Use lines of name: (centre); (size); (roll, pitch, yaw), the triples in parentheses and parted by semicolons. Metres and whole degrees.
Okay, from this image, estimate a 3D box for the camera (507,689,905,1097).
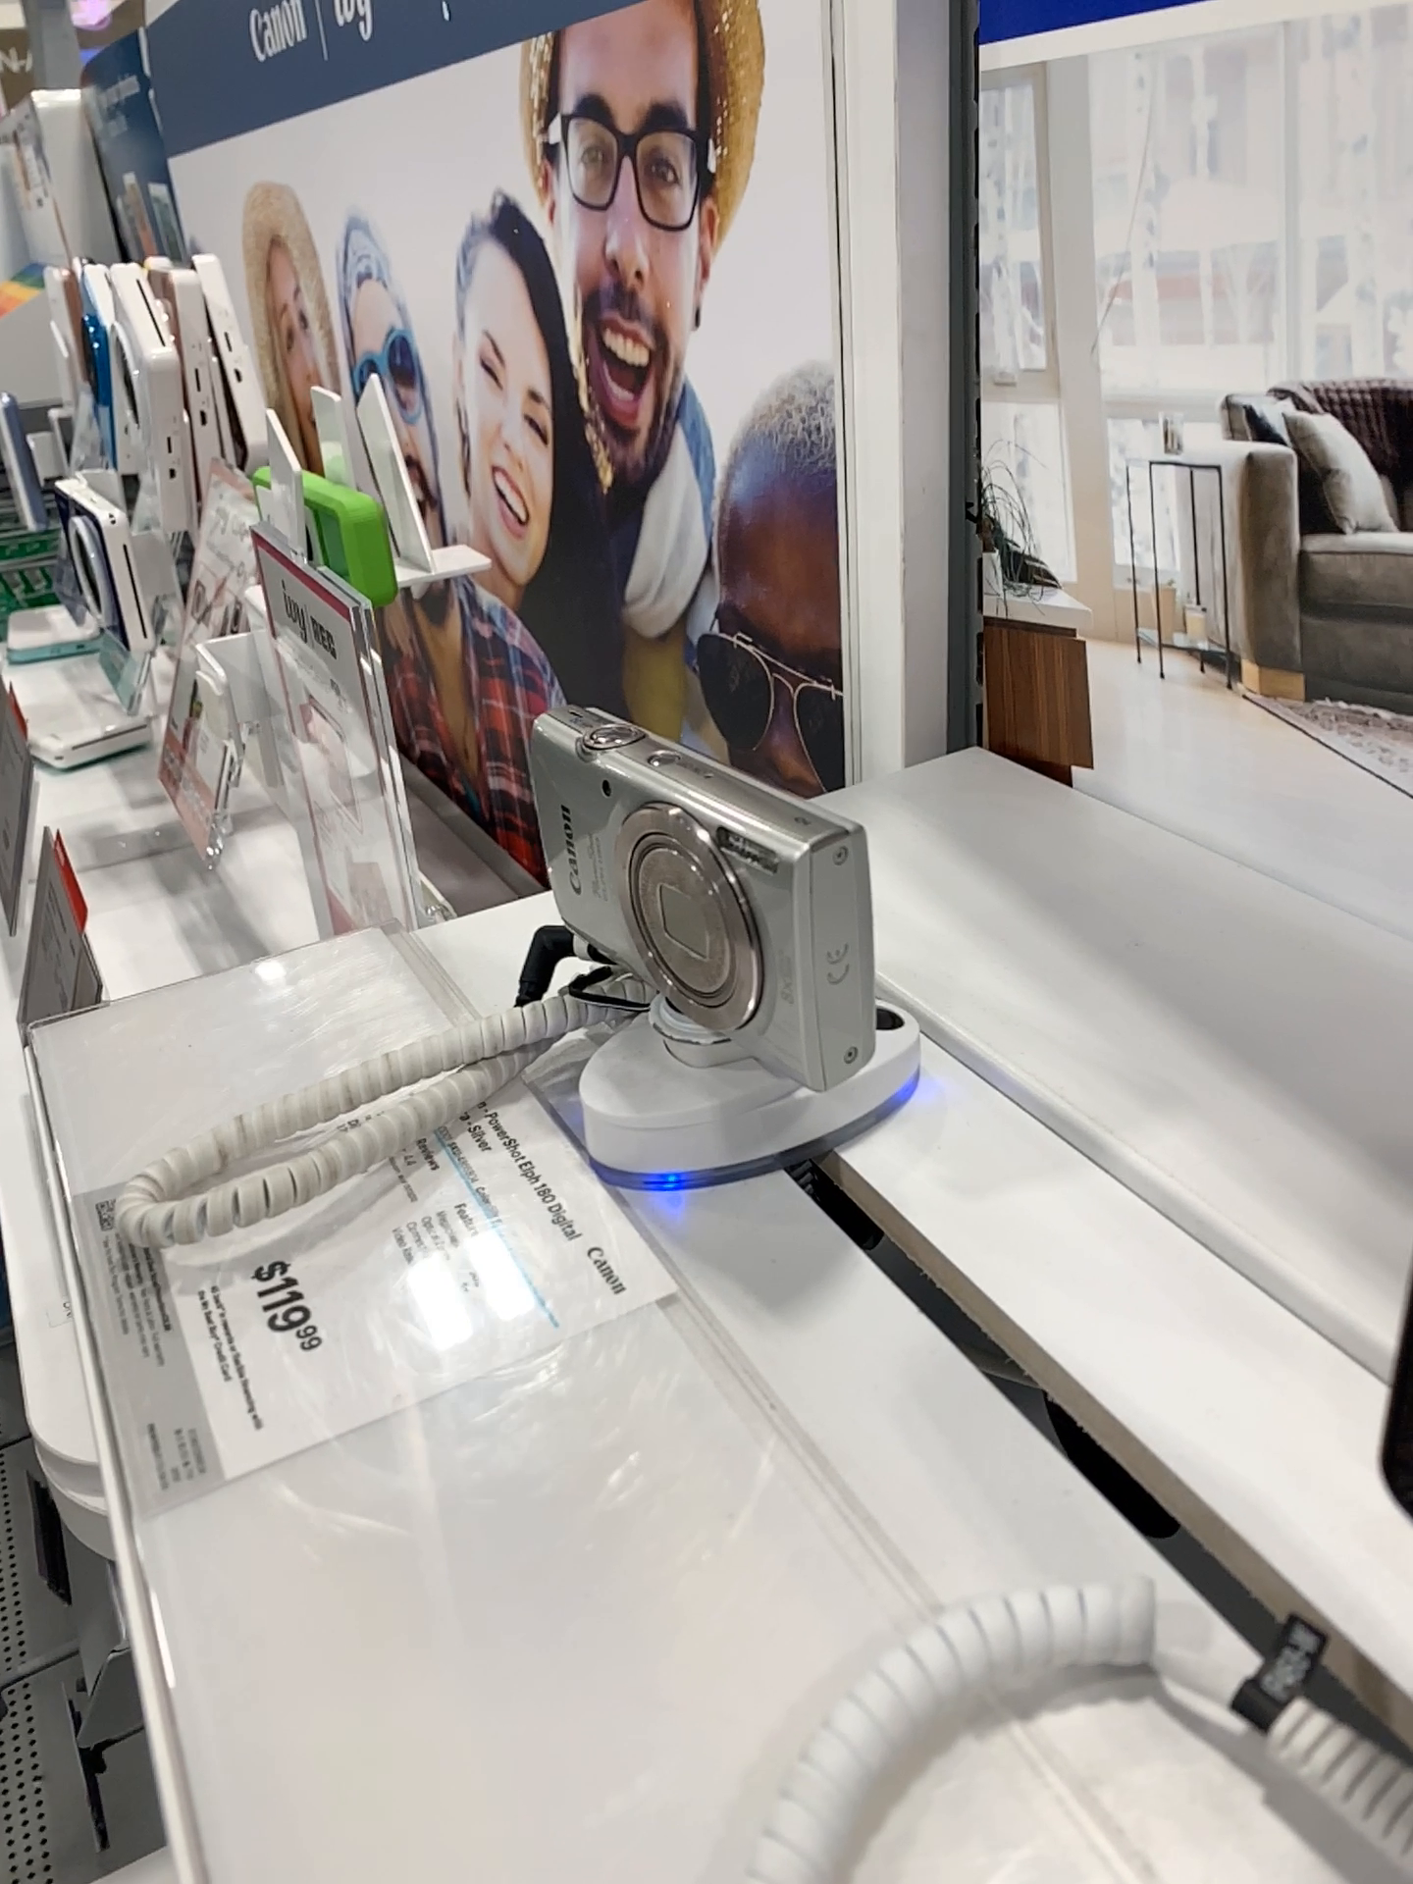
camera: (-0.003, -0.014, 0.301); (0.022, 0.051, 0.099); (-27, 35, -25)
